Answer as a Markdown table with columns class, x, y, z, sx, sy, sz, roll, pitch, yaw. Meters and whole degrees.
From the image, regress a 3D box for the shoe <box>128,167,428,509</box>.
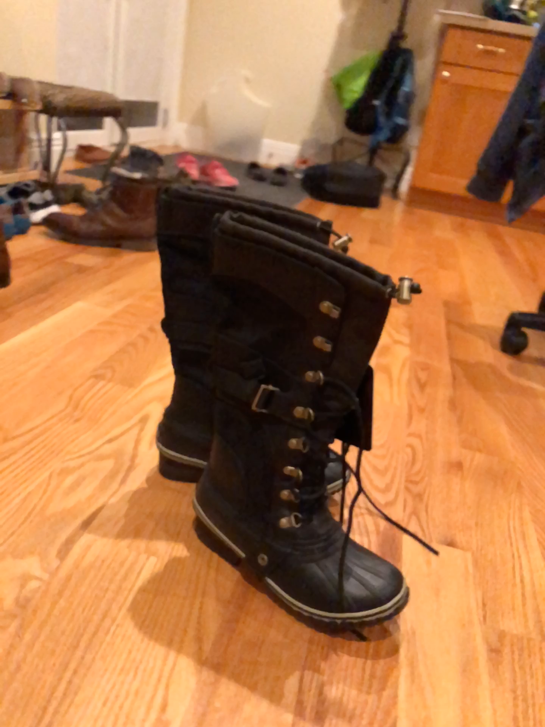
| class | x | y | z | sx | sy | sz | roll | pitch | yaw |
| --- | --- | --- | --- | --- | --- | --- | --- | --- | --- |
| shoe | -0.008 | -0.021 | 0.673 | 0.260 | 0.328 | 0.101 | 9 | 23 | -3 |

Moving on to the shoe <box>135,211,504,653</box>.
| class | x | y | z | sx | sy | sz | roll | pitch | yaw |
| --- | --- | --- | --- | --- | --- | --- | --- | --- | --- |
| shoe | 0.022 | 0.051 | 0.547 | 0.260 | 0.308 | 0.100 | 20 | 25 | 22 |
